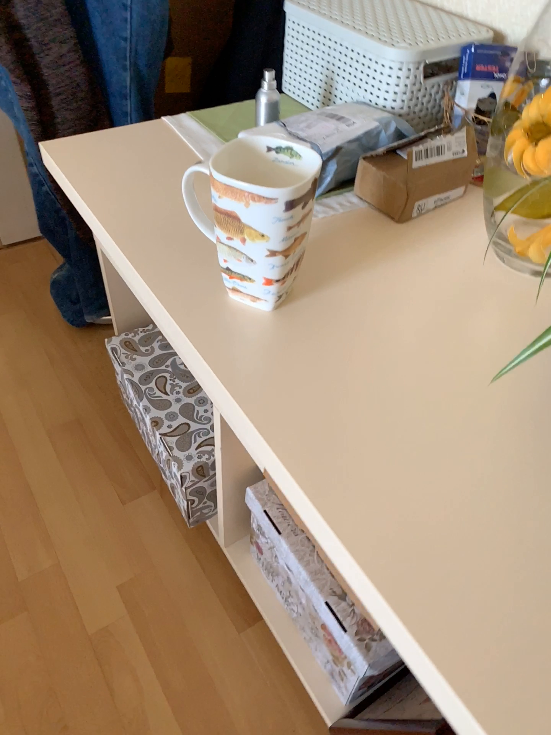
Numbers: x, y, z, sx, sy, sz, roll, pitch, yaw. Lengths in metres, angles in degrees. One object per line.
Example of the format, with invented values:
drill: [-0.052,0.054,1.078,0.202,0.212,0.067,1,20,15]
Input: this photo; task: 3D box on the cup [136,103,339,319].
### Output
cup: [-0.034,-0.147,0.524,0.140,0.129,0.101,24,49,18]
